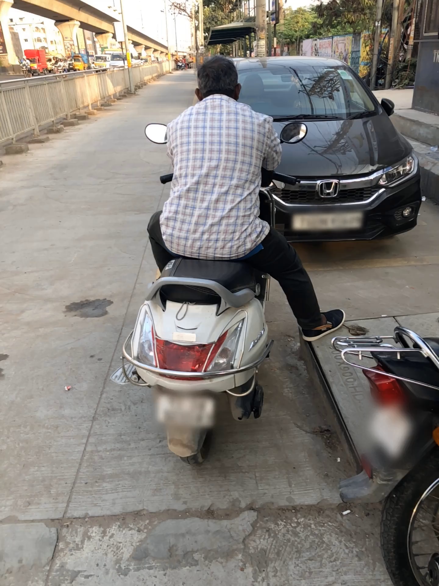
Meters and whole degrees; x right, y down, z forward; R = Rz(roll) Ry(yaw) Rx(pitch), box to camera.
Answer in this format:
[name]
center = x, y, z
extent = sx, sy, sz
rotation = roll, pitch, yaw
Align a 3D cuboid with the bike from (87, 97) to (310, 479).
[bike]
center = 0.071, -0.201, 2.227
extent = 0.641, 0.858, 1.609
rotation = 1, 35, 10
